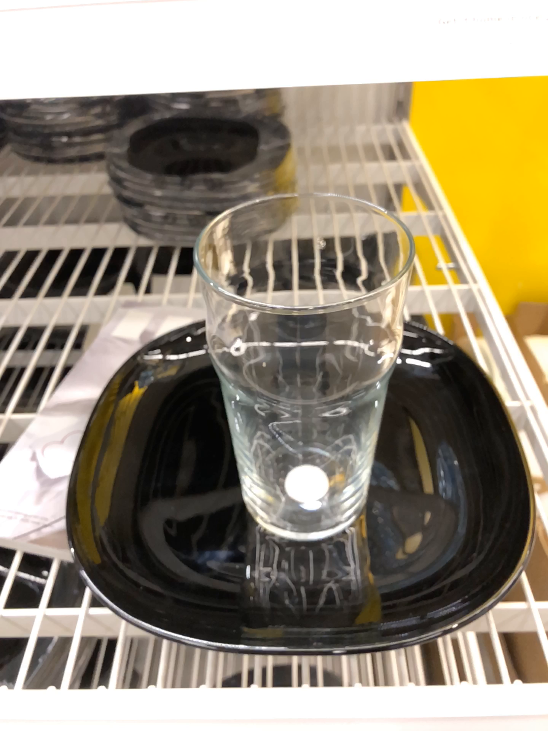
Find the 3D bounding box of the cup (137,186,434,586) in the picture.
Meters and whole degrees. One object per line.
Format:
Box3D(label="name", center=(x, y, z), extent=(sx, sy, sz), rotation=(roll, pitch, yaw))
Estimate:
Box3D(label="cup", center=(0.012, 0.008, 0.276), extent=(0.090, 0.139, 0.090), rotation=(-1, 38, 1))
